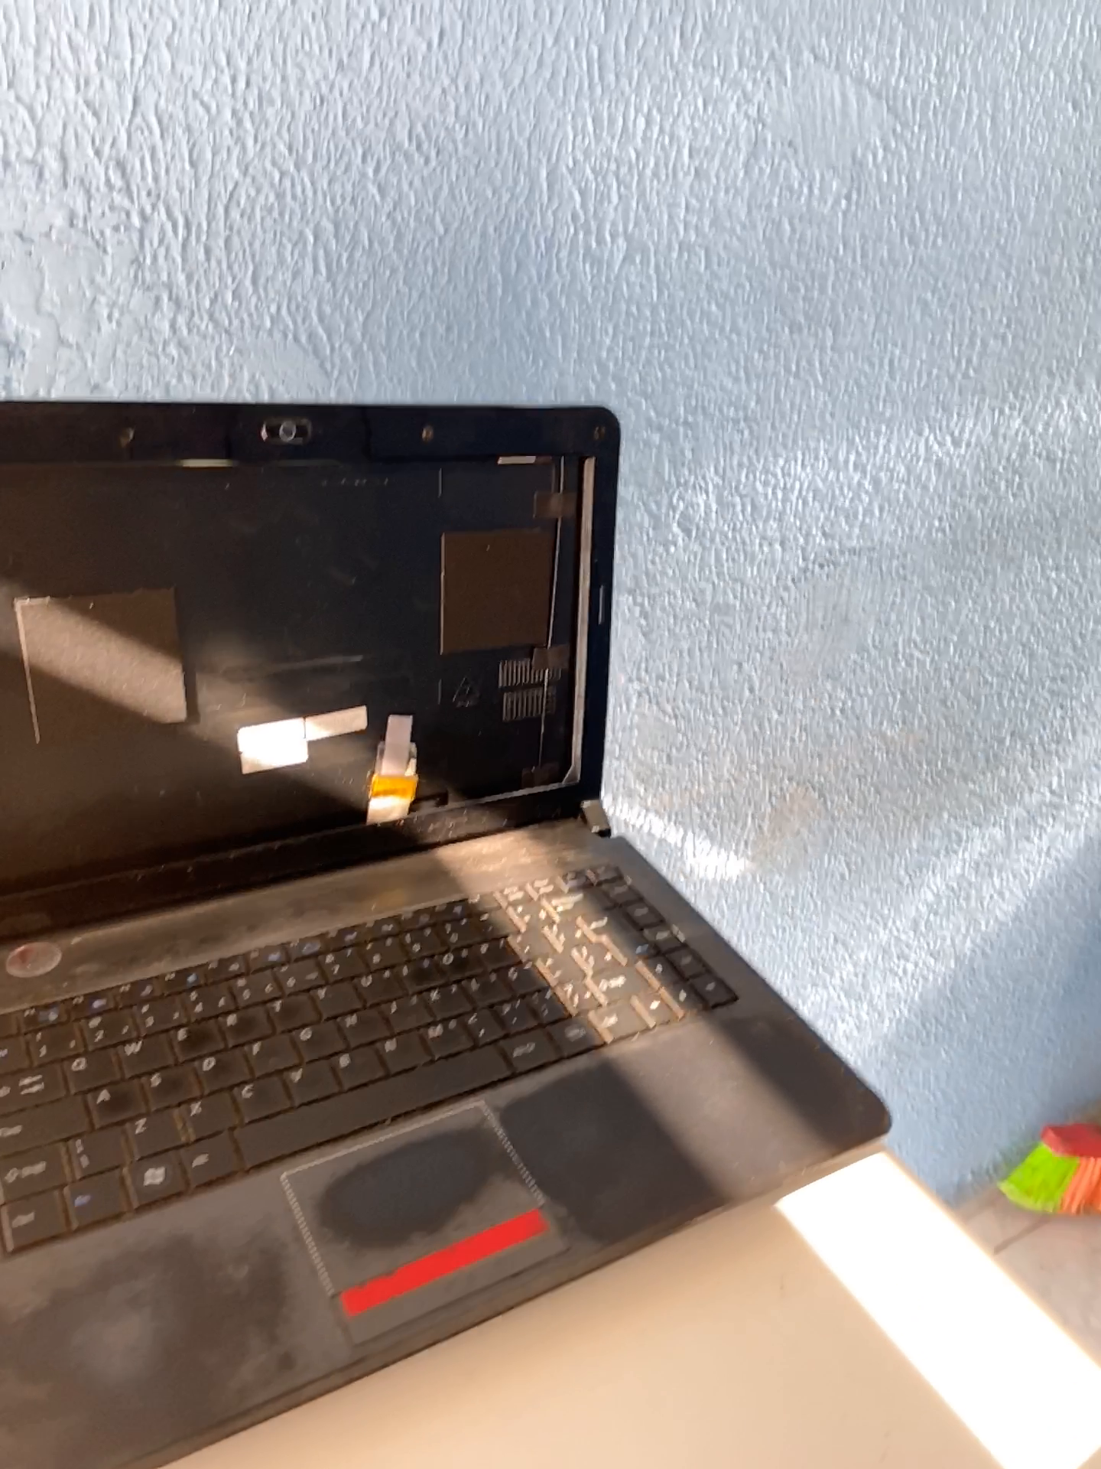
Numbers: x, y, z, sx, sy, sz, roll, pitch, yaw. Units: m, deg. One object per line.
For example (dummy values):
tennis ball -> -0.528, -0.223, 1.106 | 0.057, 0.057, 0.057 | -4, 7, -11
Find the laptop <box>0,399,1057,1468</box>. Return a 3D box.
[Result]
laptop -> -0.061, 0.022, 0.436 | 0.335, 0.216, 0.277 | -9, 33, -30
